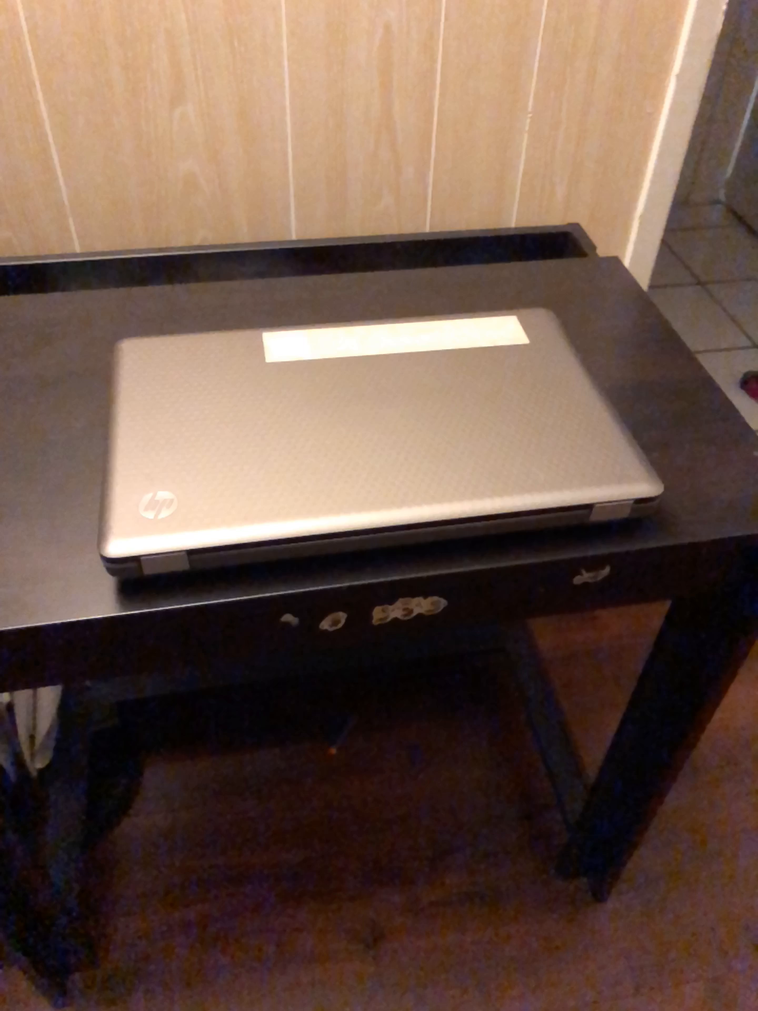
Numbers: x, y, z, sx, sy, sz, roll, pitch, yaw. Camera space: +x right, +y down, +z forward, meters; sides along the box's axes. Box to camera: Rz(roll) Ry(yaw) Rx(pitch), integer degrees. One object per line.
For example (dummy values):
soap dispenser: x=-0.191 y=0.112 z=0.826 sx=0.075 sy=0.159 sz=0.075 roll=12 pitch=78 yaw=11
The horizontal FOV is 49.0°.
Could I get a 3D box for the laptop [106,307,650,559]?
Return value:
laptop: x=-0.013 y=-0.070 z=0.620 sx=0.357 sy=0.001 sz=0.239 roll=-6 pitch=45 yaw=-8
